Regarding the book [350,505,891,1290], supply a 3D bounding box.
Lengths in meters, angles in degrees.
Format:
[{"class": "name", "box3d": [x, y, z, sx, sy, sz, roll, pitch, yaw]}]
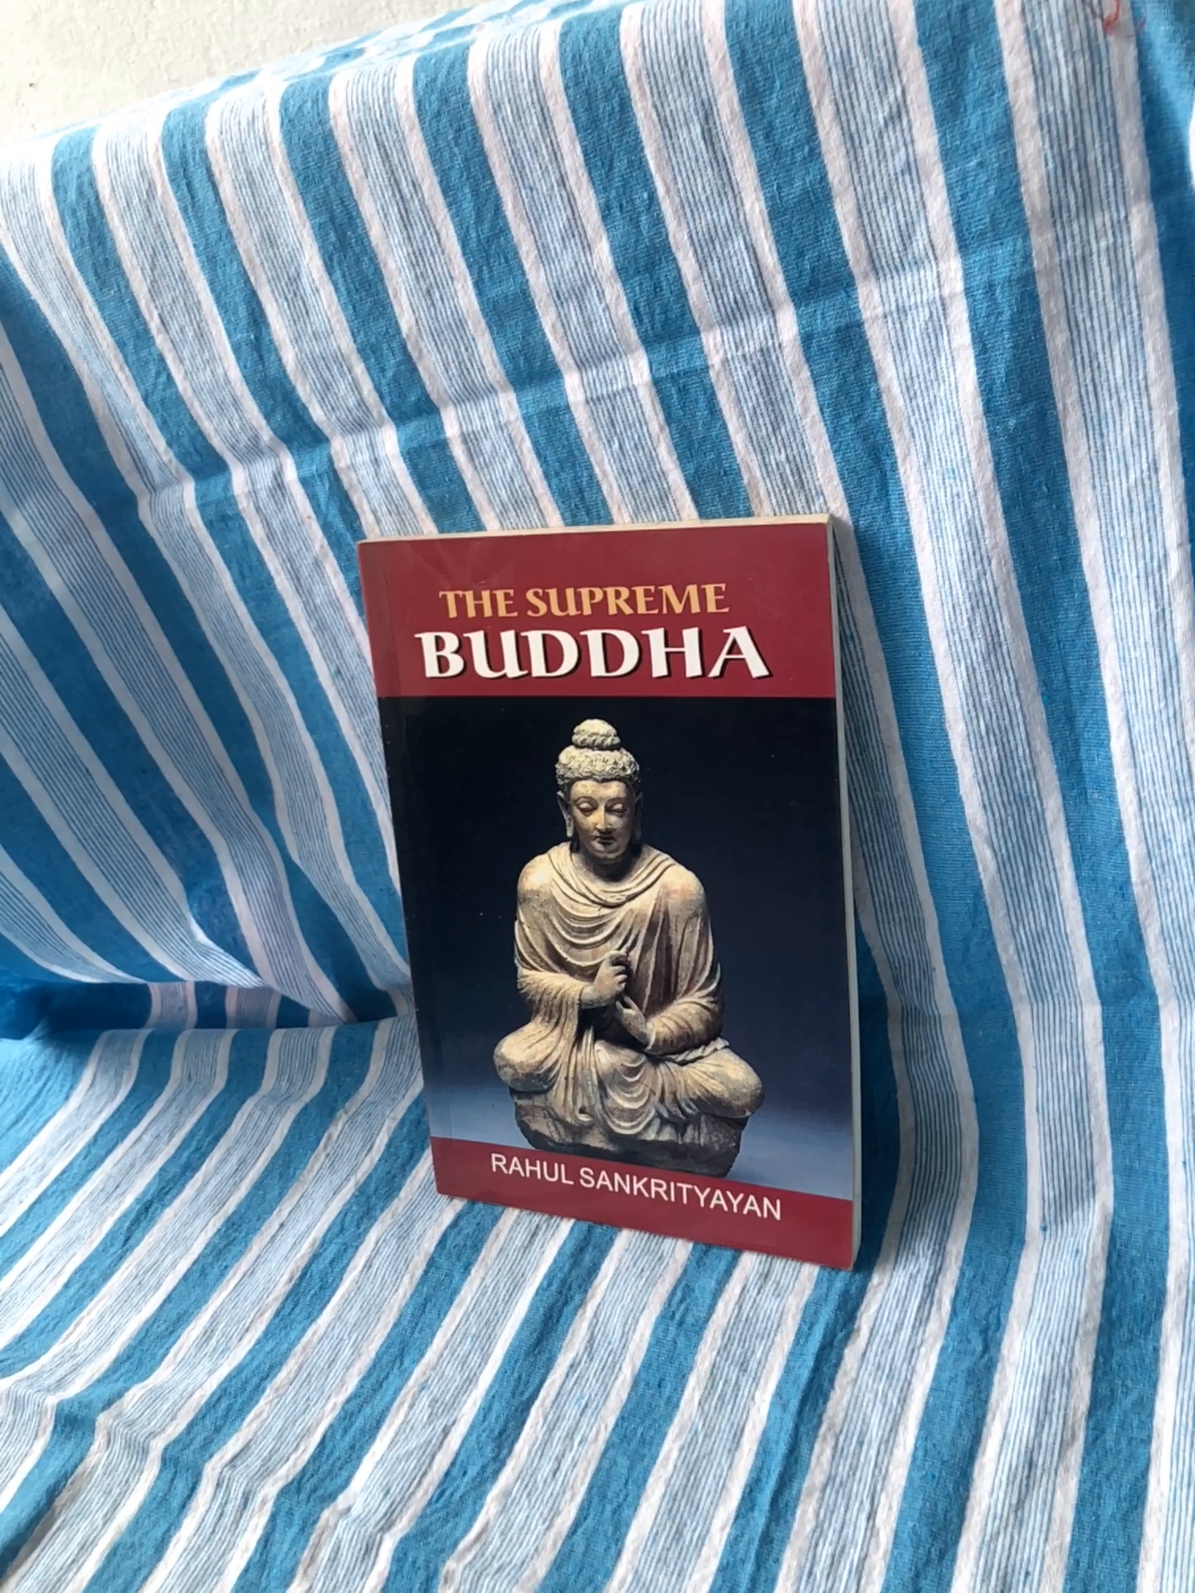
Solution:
[{"class": "book", "box3d": [0.008, 0.030, 0.392, 0.150, 0.219, 0.020, 2, 16, 24]}]
